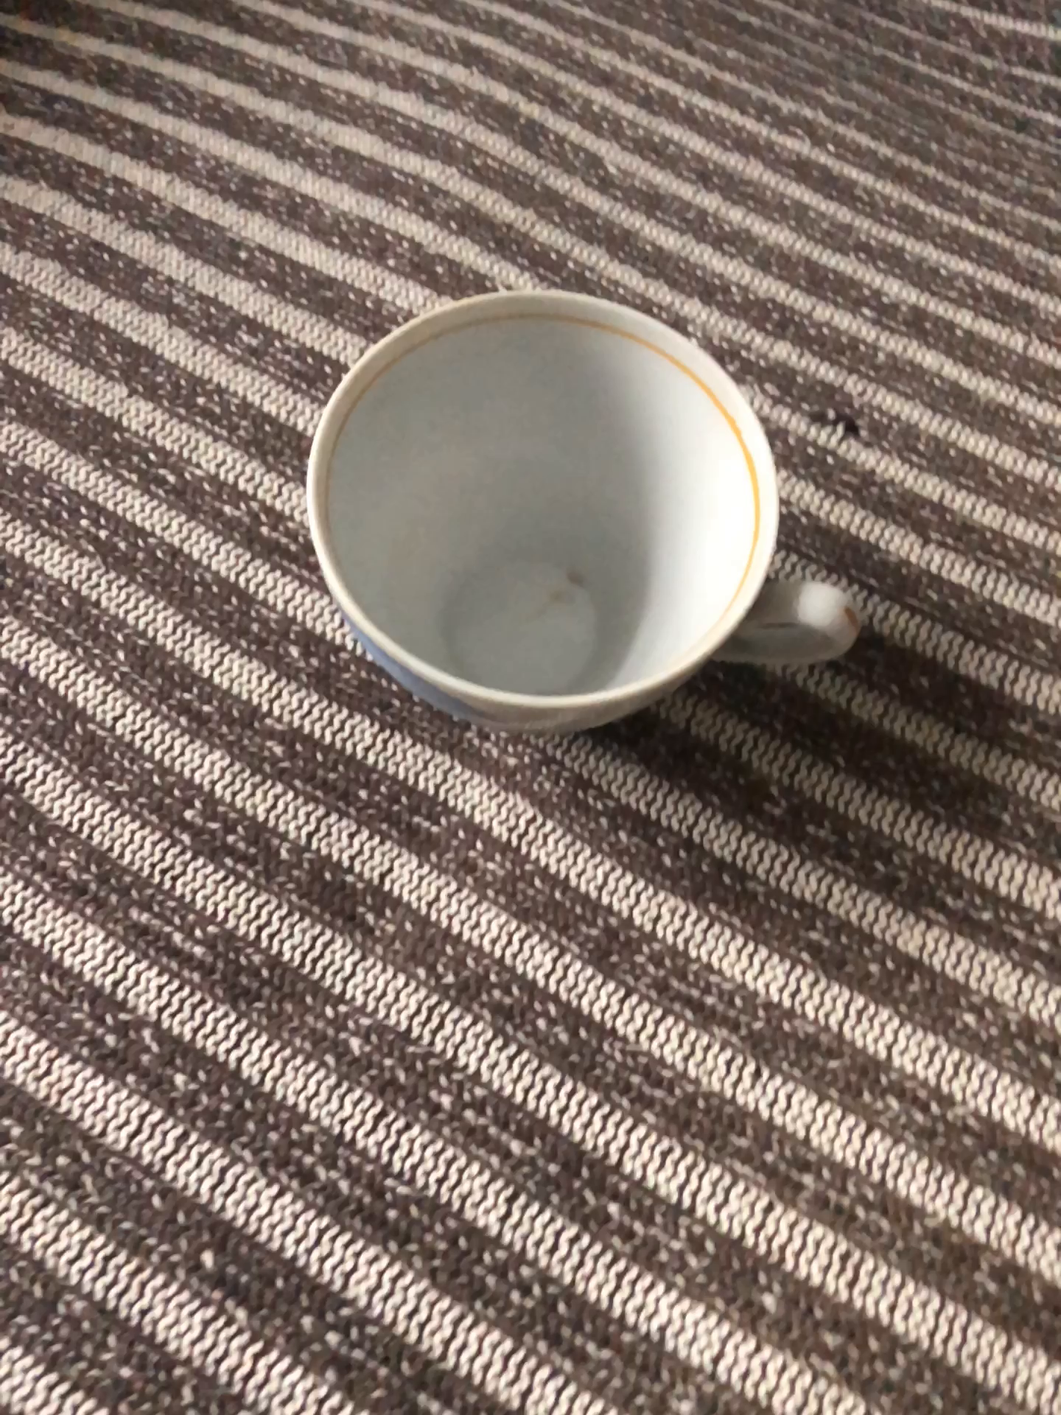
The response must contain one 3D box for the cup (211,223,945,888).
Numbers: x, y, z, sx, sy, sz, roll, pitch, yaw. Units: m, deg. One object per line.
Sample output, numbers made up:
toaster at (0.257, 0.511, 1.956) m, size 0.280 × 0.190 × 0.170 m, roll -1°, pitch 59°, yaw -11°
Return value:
cup at (0.007, -0.021, 0.177) m, size 0.079 × 0.042 × 0.061 m, roll 23°, pitch 72°, yaw 5°
